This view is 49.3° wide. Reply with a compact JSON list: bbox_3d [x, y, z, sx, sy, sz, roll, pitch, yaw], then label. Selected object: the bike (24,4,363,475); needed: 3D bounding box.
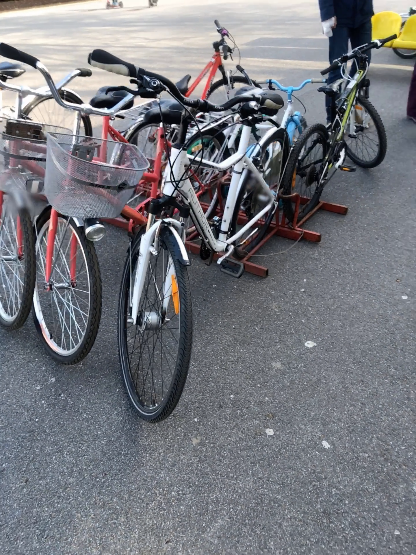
[{"bbox_3d":[0.181,-0.351,1.825,0.619,1.163,1.608,8,36,18],"label":"bike"}]
